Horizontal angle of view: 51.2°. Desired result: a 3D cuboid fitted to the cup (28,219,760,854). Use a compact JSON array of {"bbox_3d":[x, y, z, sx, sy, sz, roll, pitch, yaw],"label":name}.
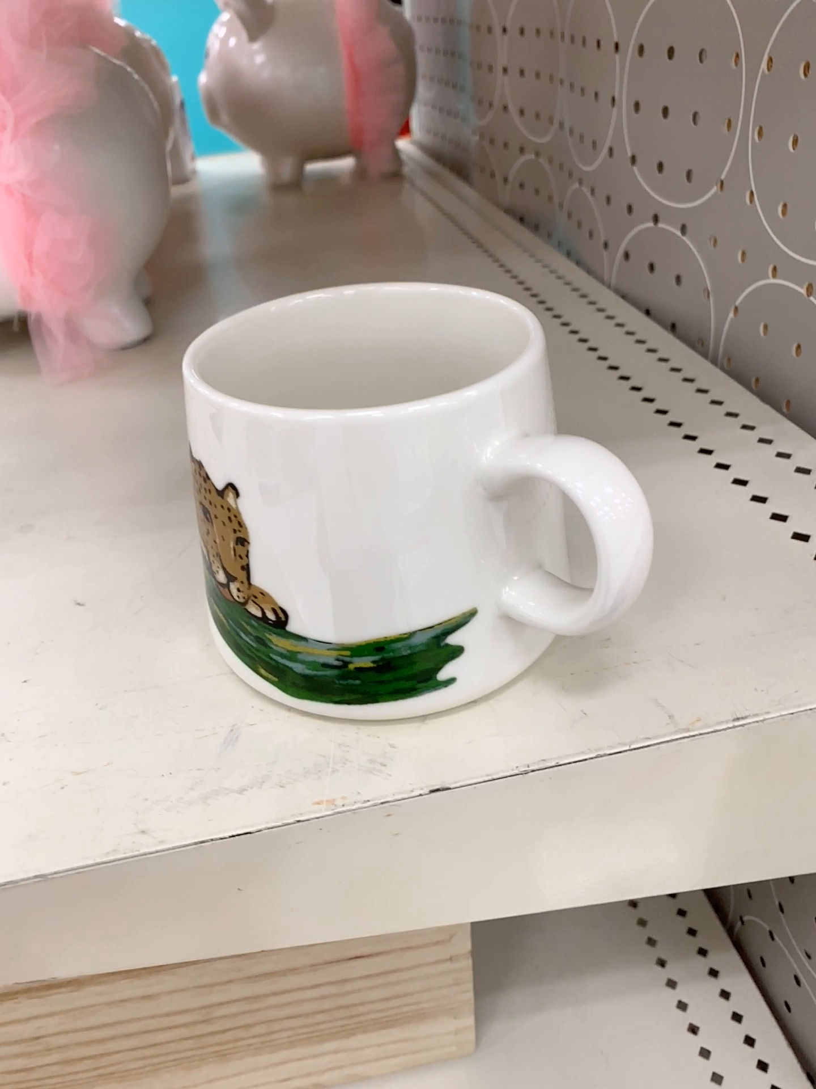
[{"bbox_3d":[-0.005,-0.021,0.229,0.140,0.090,0.110,26,45,38],"label":"cup"}]
